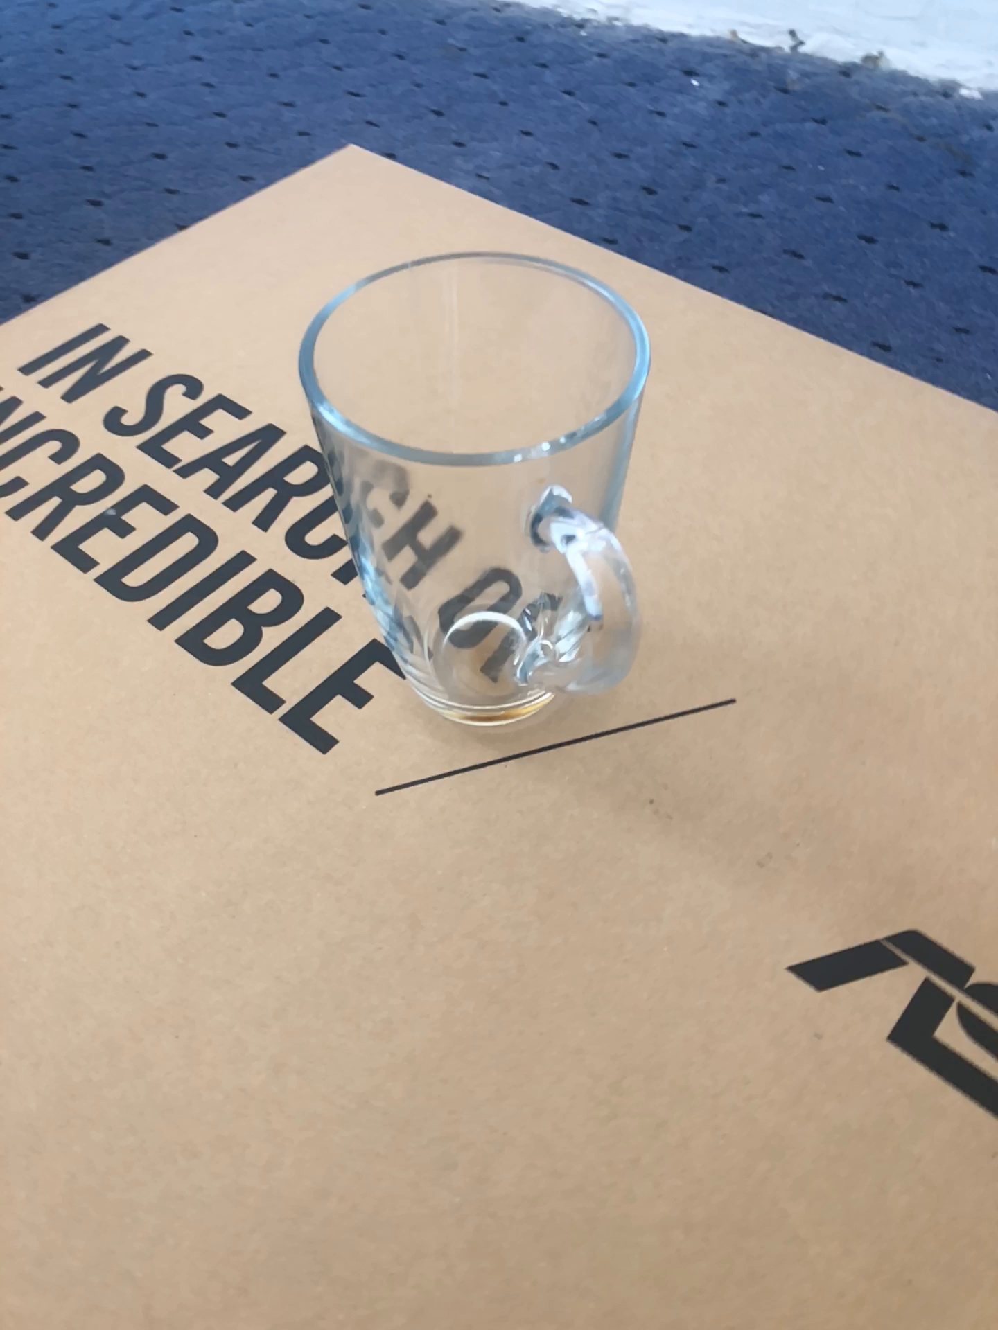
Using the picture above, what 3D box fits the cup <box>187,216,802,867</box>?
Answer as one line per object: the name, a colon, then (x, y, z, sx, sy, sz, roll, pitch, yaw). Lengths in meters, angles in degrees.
cup: (-0.004, -0.033, 0.271, 0.080, 0.090, 0.110, -32, 56, -25)
